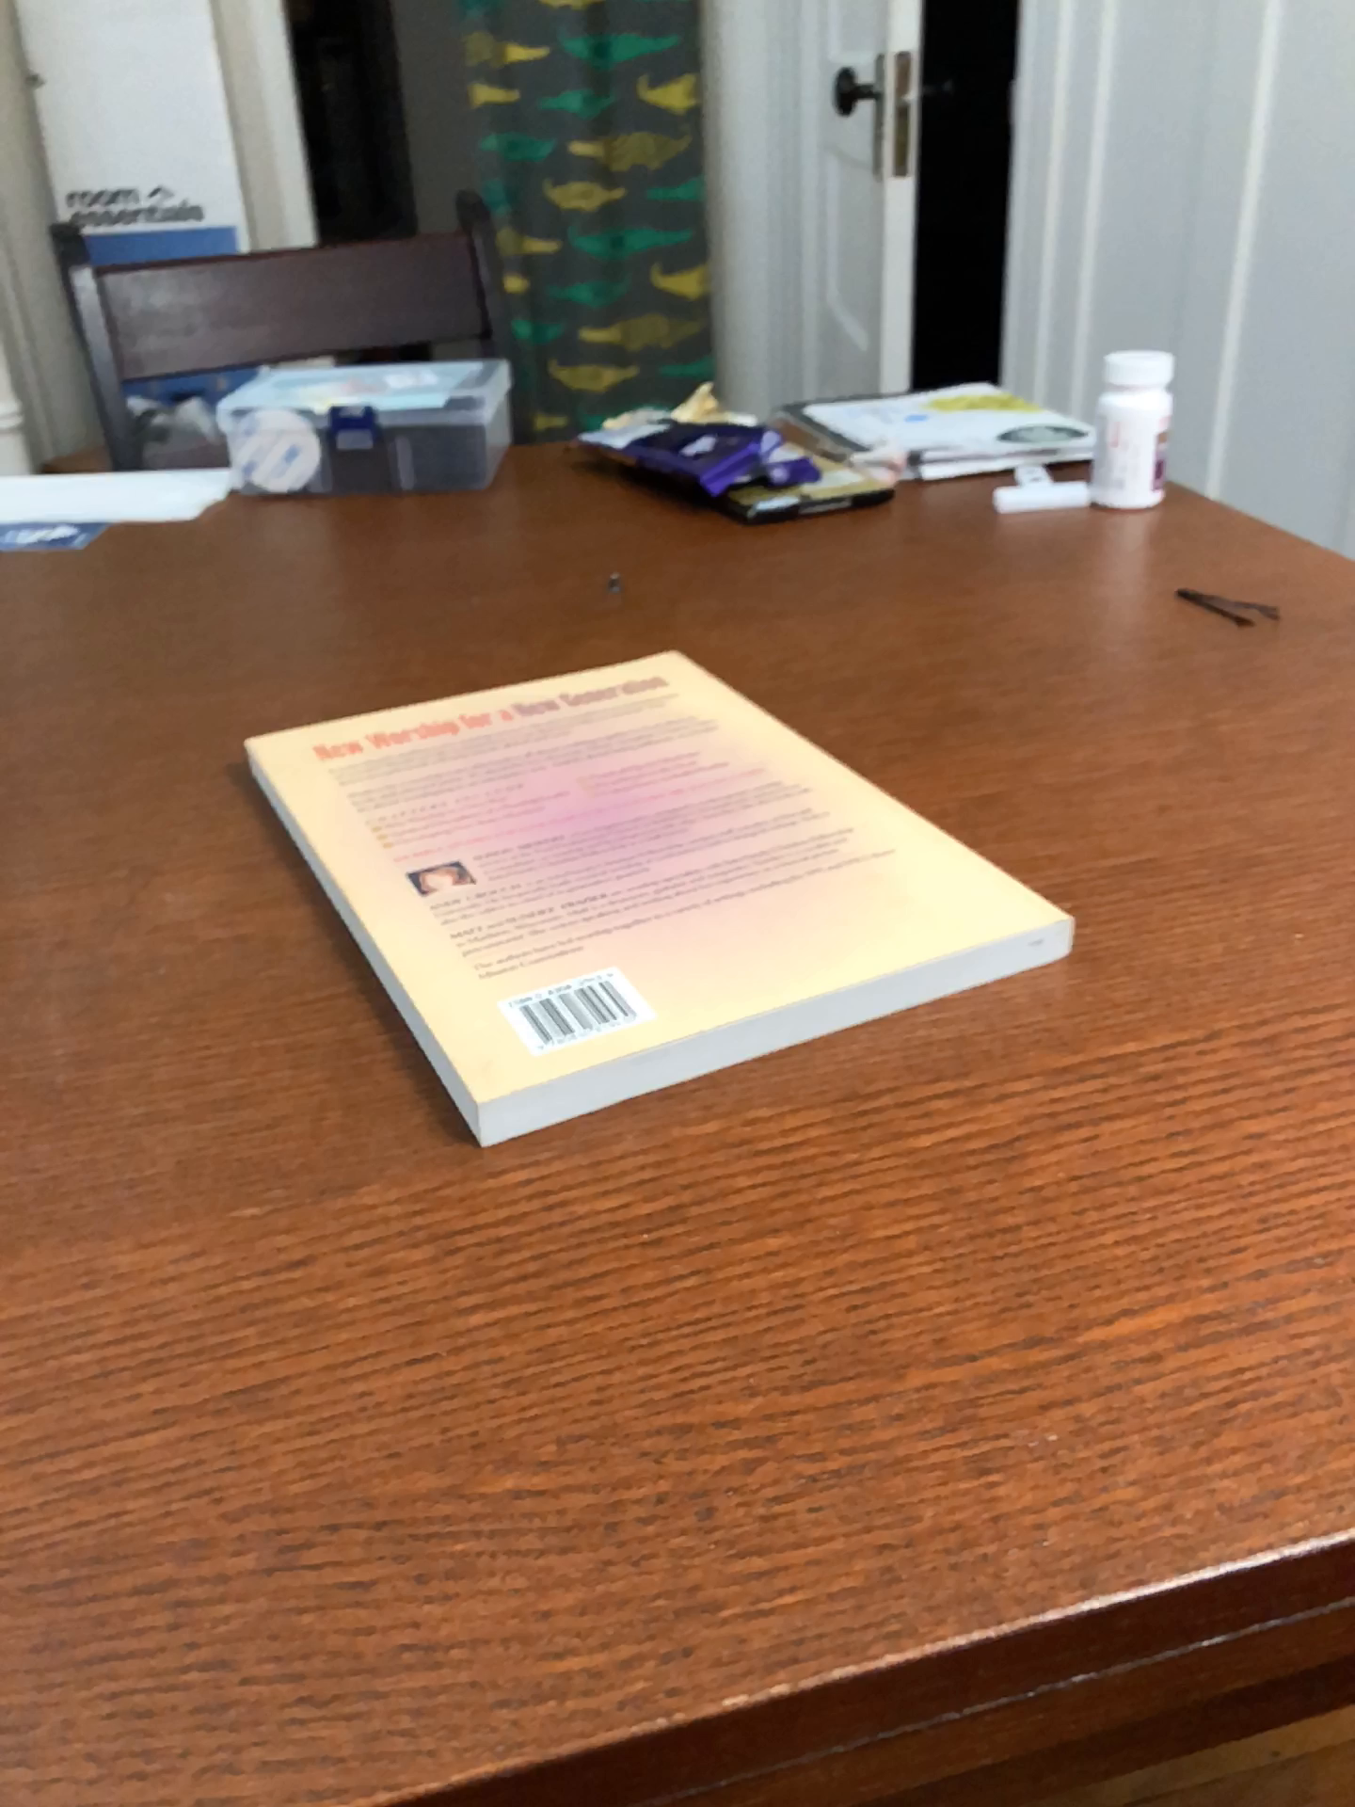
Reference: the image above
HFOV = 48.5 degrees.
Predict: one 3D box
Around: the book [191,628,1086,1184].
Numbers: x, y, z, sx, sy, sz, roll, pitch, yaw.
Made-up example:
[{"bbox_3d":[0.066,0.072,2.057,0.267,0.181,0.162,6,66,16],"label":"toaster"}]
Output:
[{"bbox_3d":[-0.033,-0.025,0.490,0.190,0.020,0.271,-16,32,-22],"label":"book"}]
